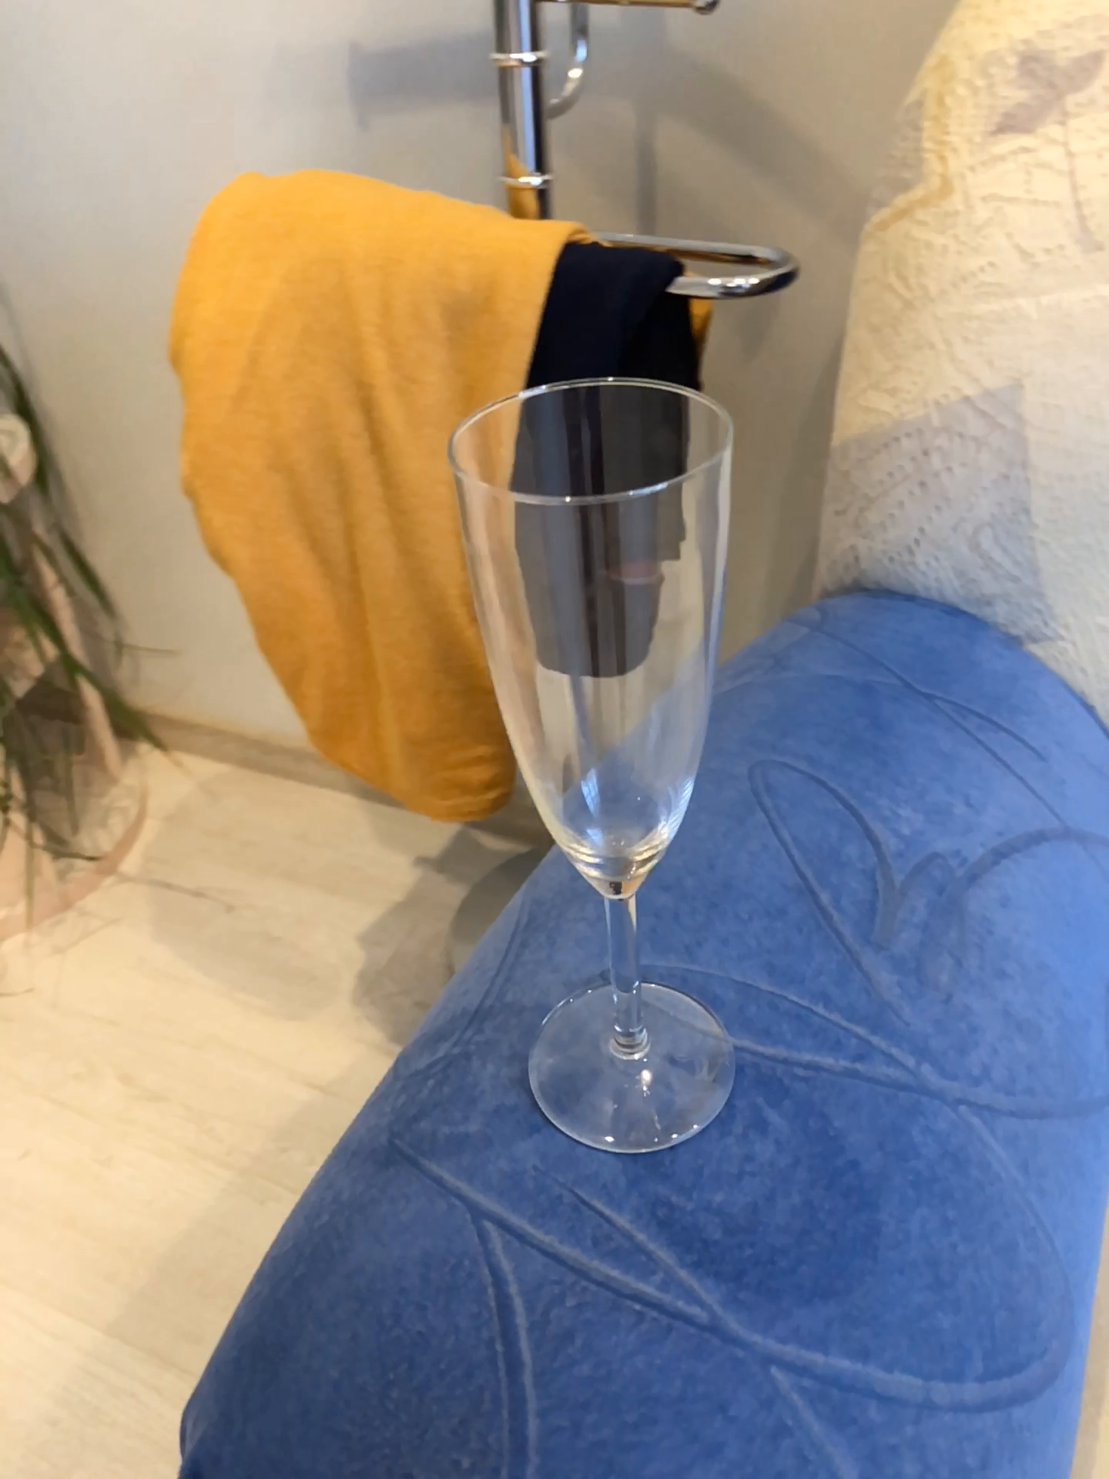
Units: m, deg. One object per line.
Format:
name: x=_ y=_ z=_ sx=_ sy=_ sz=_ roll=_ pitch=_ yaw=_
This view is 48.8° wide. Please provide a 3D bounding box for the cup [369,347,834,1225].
cup: x=0.019 y=0.019 z=0.323 sx=0.072 sy=0.214 sz=0.077 roll=-3 pitch=35 yaw=2
